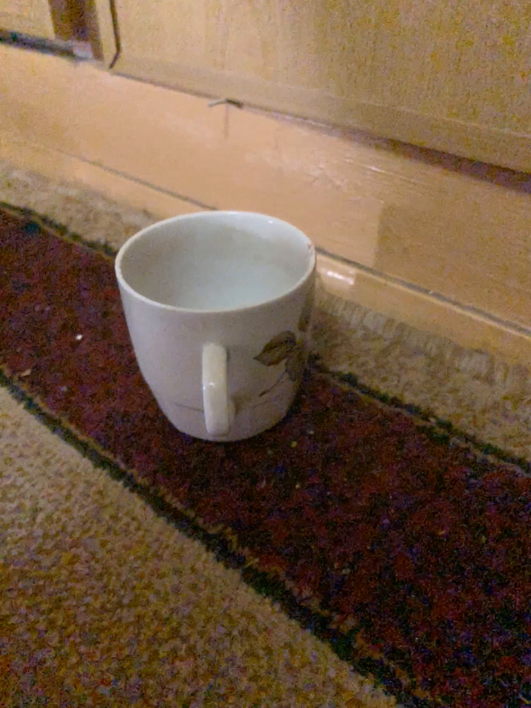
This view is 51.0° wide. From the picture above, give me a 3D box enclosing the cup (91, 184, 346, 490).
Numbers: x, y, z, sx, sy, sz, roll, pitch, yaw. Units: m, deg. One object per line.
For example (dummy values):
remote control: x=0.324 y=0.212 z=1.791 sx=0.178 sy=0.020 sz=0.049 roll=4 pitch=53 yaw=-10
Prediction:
cup: x=-0.022 y=-0.015 z=0.245 sx=0.081 sy=0.075 sz=0.114 roll=-5 pitch=38 yaw=-6
